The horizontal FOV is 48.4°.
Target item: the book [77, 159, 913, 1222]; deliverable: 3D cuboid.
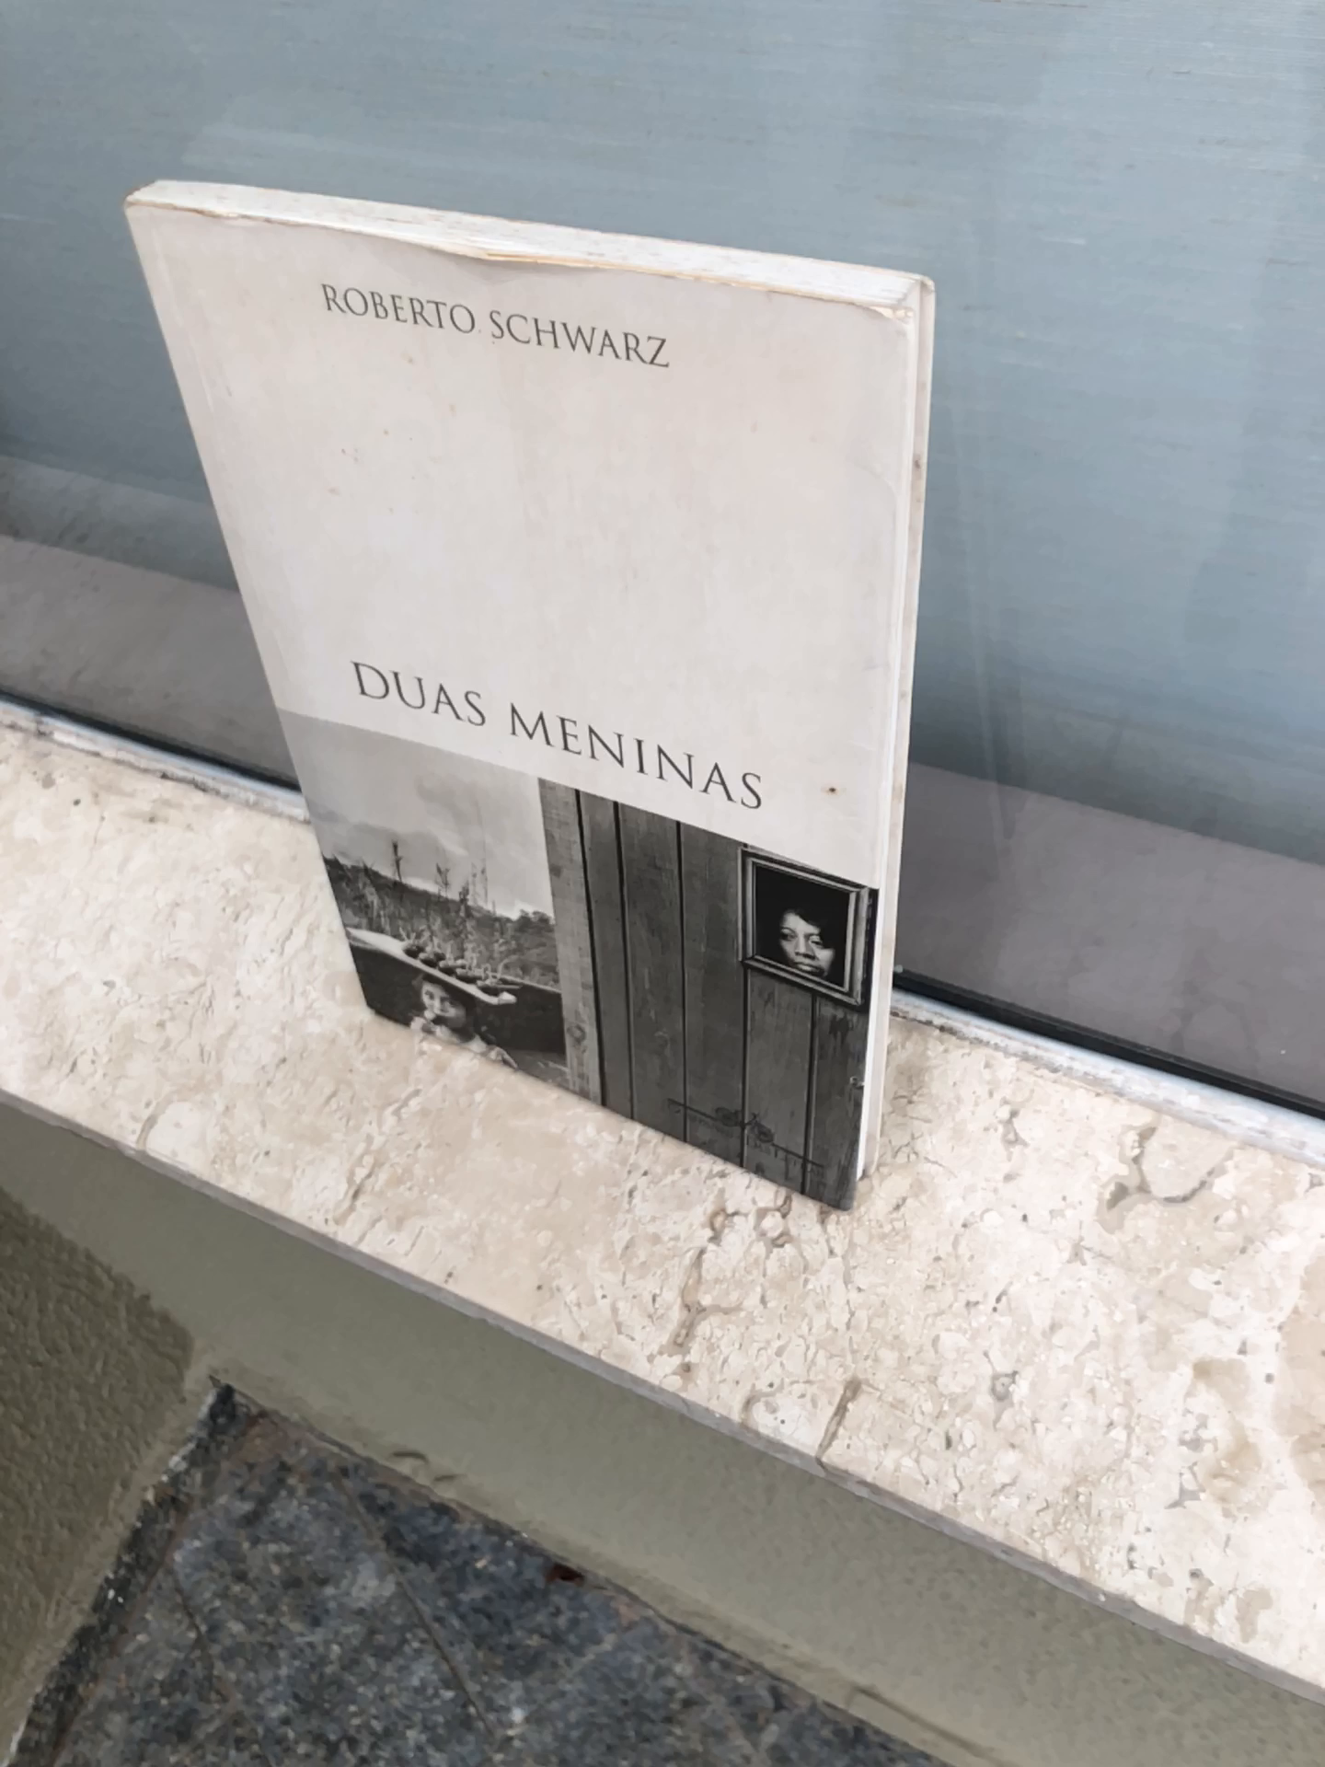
[{"bbox_3d":[-0.024,-0.024,0.289,0.139,0.204,0.016,19,50,24],"label":"book"}]
